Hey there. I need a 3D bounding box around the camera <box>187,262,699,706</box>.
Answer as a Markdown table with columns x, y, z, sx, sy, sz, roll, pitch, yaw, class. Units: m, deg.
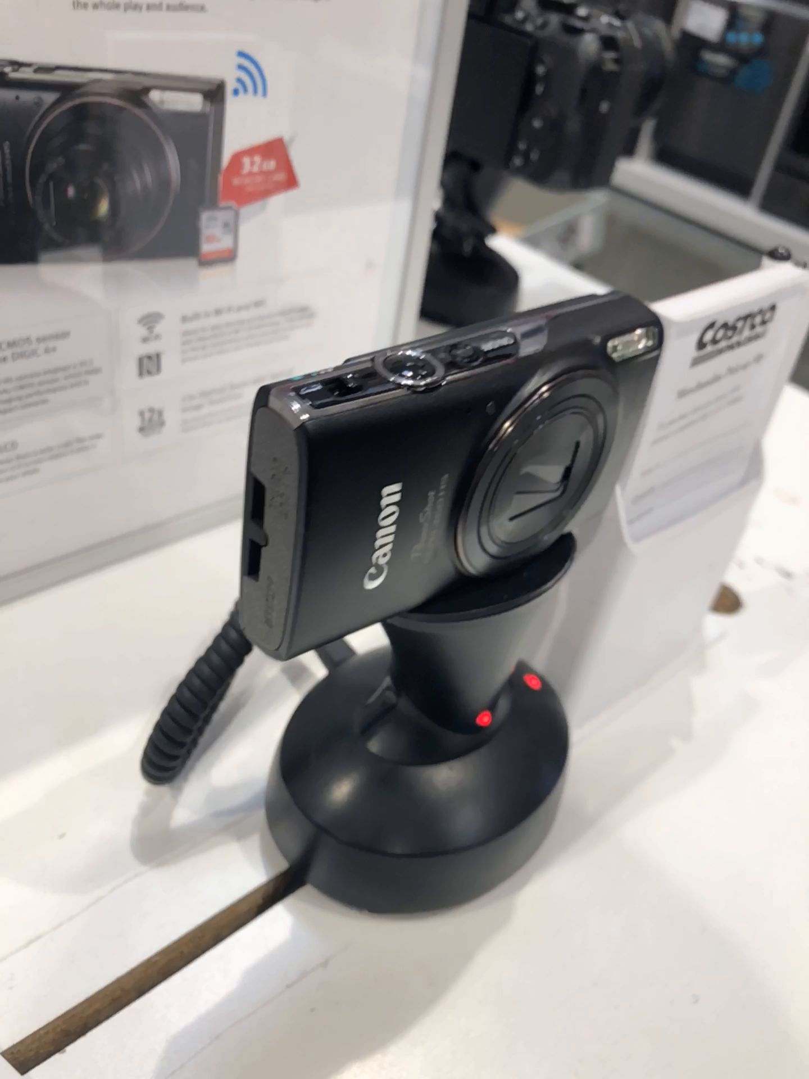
| x | y | z | sx | sy | sz | roll | pitch | yaw | class |
| --- | --- | --- | --- | --- | --- | --- | --- | --- | --- |
| 0.010 | -0.017 | 0.196 | 0.110 | 0.060 | 0.030 | -23 | 49 | -36 | camera |
